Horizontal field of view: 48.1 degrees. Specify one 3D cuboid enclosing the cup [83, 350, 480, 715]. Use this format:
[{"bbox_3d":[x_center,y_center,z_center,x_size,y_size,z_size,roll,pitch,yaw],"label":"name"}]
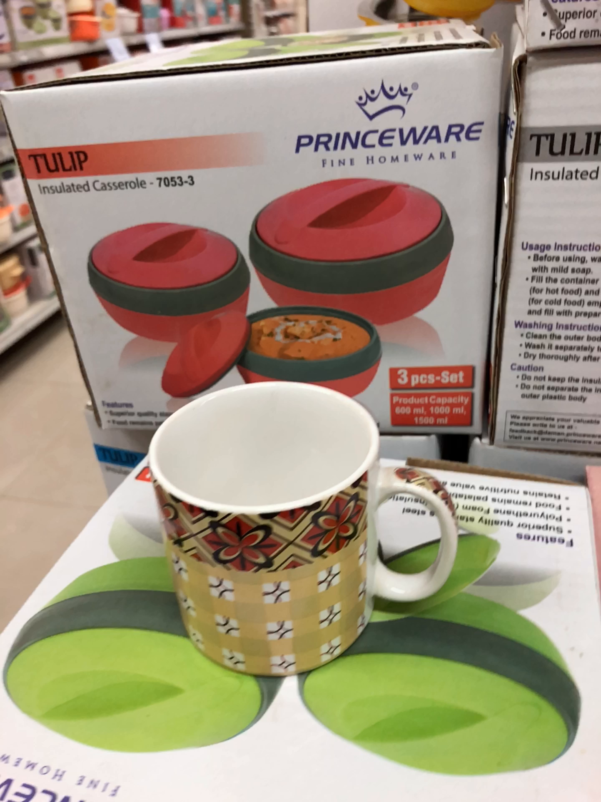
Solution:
[{"bbox_3d":[0.002,0.039,0.236,0.110,0.079,0.081,4,31,14],"label":"cup"}]
